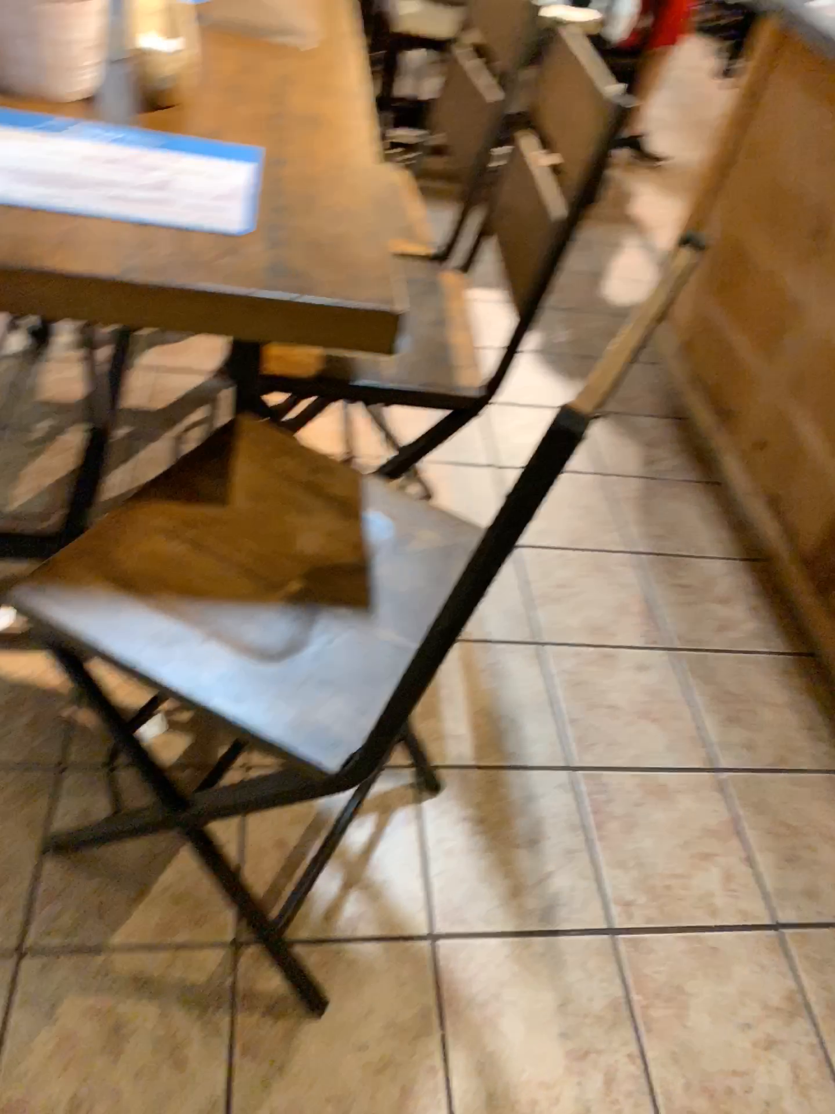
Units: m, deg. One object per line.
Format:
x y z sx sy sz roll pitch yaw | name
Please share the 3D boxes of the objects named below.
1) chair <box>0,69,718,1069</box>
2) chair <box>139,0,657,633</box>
-0.161 0.062 1.037 0.615 0.984 0.444 24 42 15 | chair
-0.100 -0.383 1.525 0.615 1.004 0.494 2 45 -9 | chair
